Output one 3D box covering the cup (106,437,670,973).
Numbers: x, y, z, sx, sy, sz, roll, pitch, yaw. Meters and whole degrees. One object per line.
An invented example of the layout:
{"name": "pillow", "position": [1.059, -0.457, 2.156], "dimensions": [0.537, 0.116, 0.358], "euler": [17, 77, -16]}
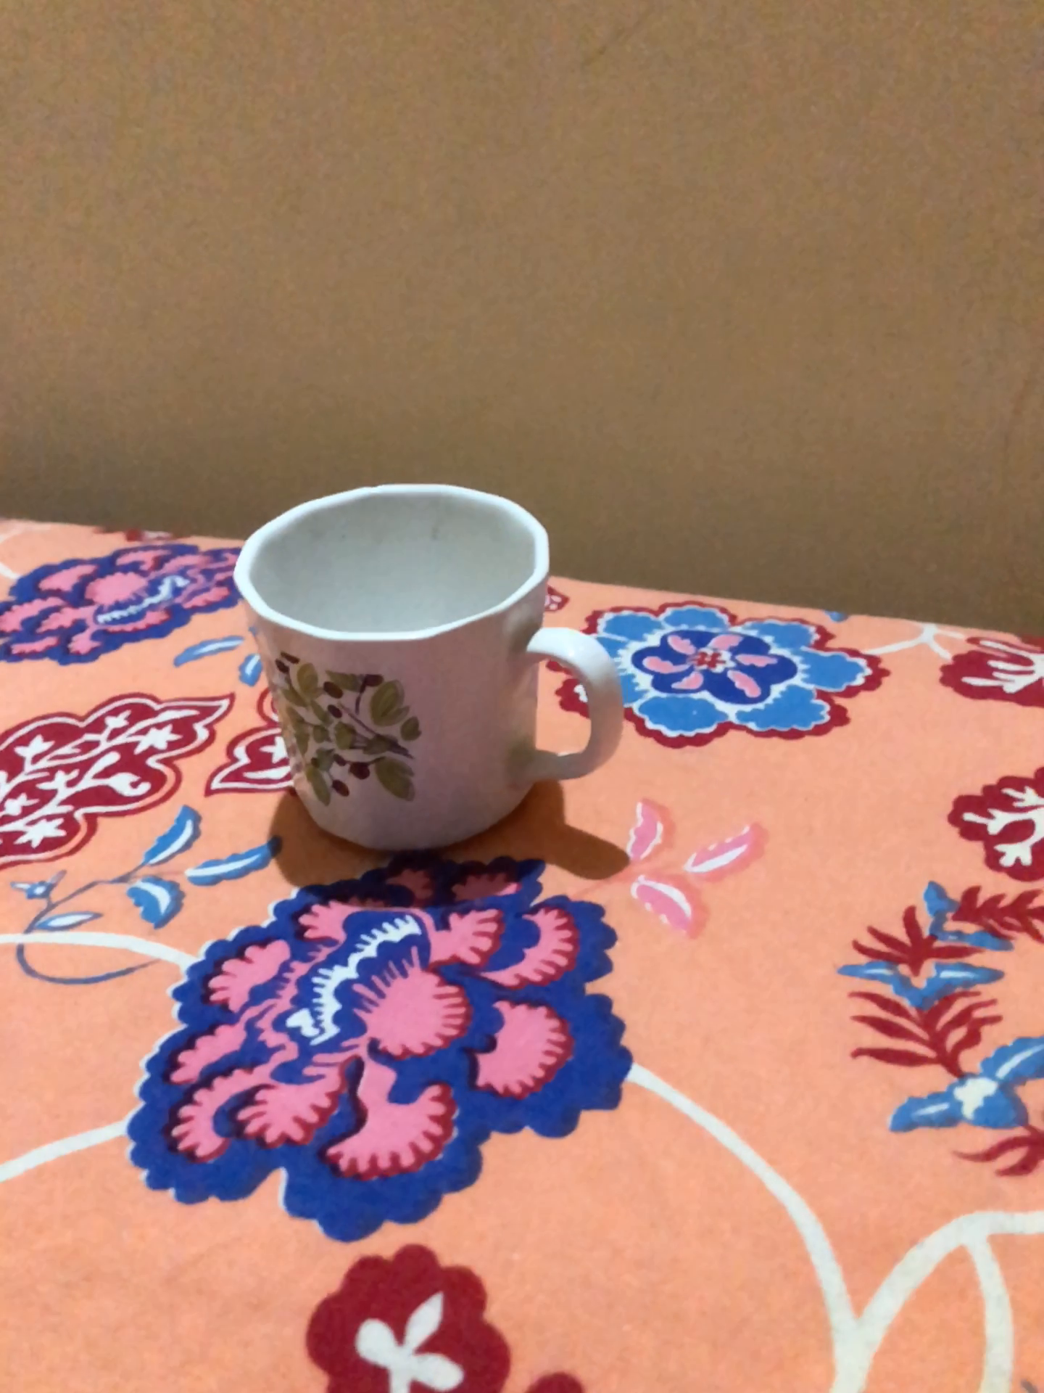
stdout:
{"name": "cup", "position": [-0.024, -0.004, 0.243], "dimensions": [0.090, 0.070, 0.060], "euler": [18, 41, 32]}
